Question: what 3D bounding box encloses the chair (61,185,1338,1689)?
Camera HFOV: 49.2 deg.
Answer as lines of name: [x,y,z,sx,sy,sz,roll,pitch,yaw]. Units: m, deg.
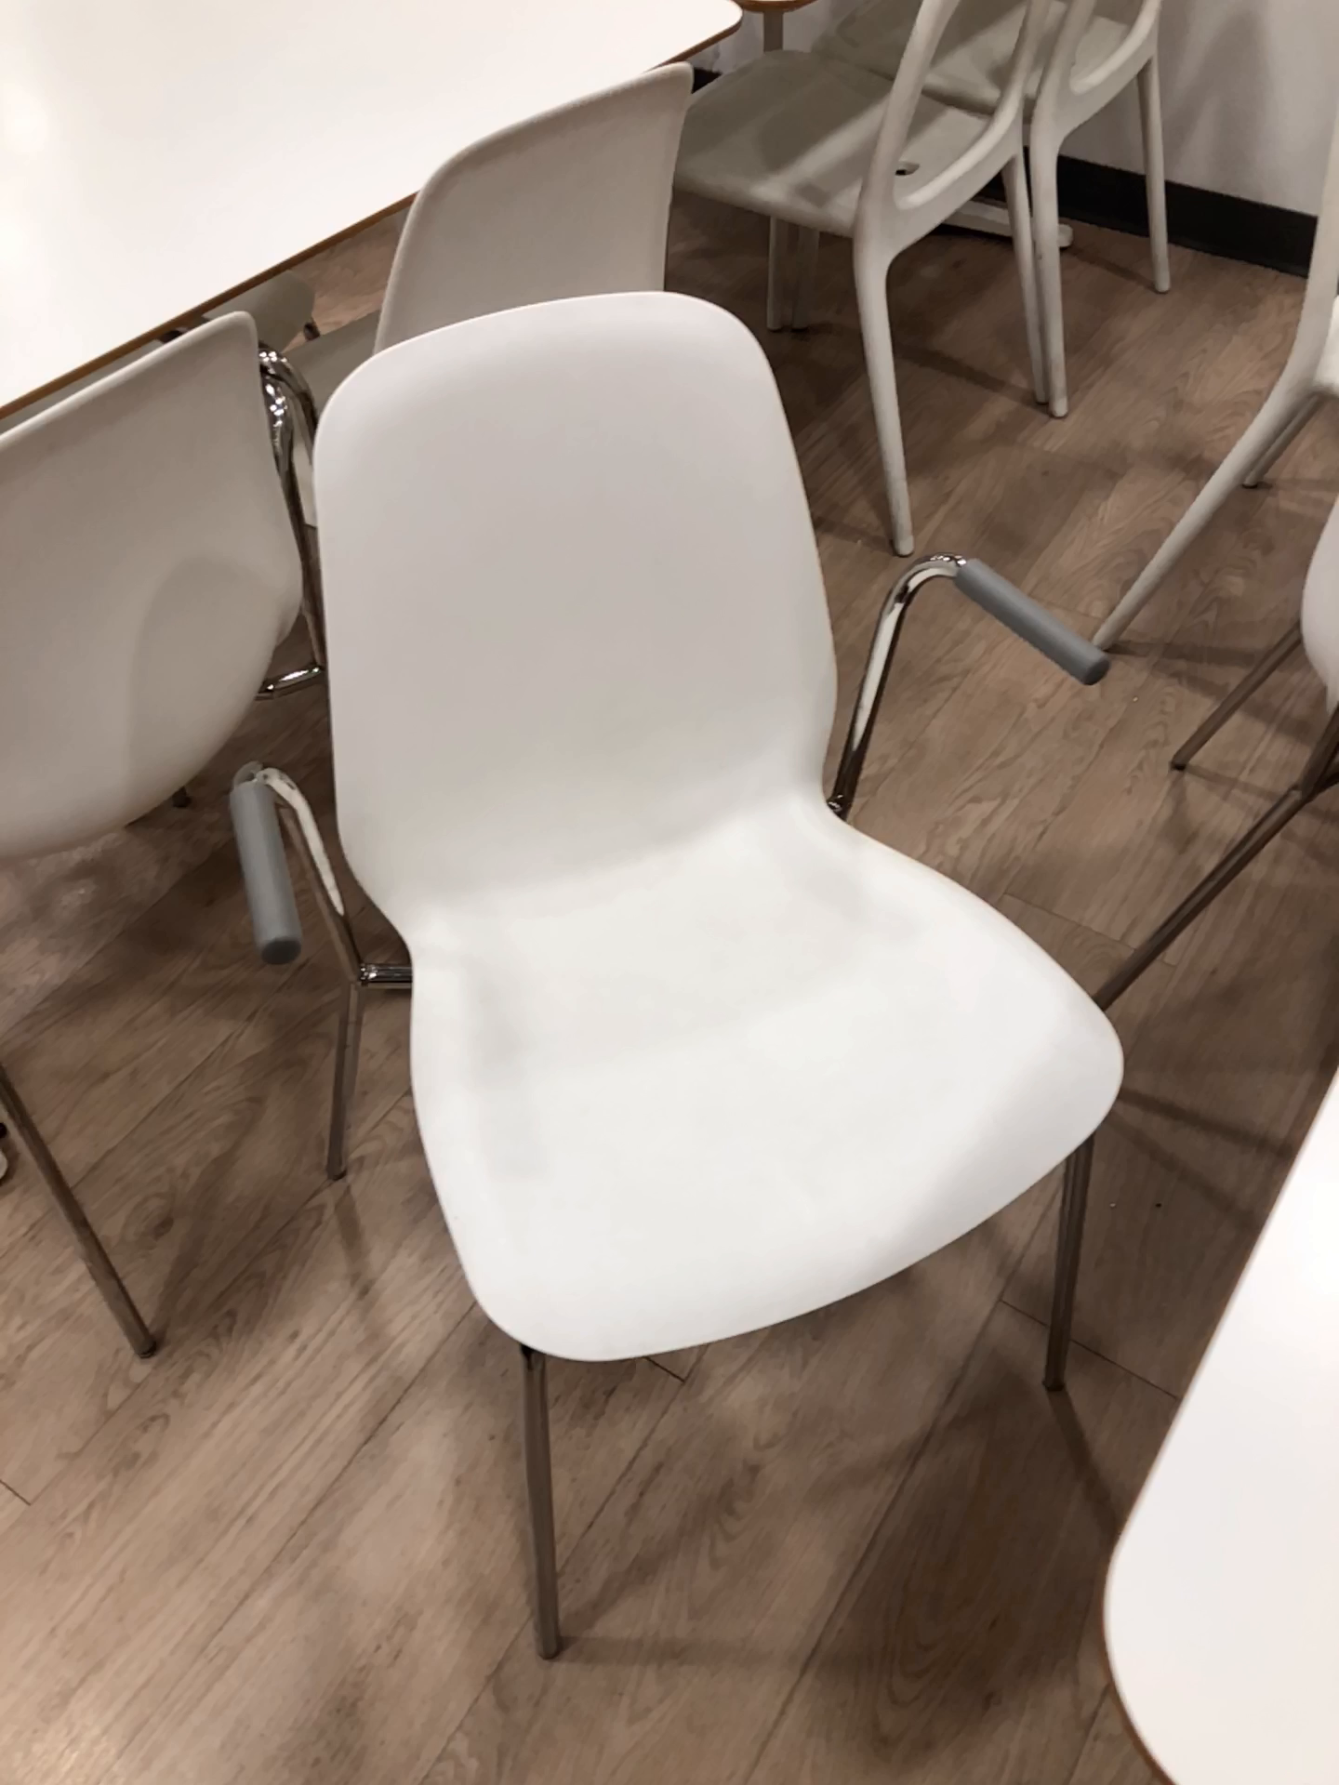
chair: [0.028,0.061,1.045,0.570,0.805,0.533,-19,51,-17]
